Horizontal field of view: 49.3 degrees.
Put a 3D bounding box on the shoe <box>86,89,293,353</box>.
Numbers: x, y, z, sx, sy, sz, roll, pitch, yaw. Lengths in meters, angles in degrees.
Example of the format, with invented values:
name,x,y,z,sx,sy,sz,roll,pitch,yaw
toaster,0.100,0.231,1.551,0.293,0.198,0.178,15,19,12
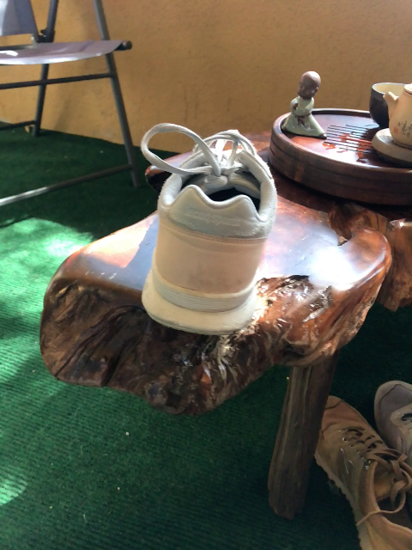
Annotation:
name,x,y,z,sx,sy,sz,roll,pitch,yaw
shoe,0.007,-0.070,0.383,0.102,0.091,0.265,10,38,8
